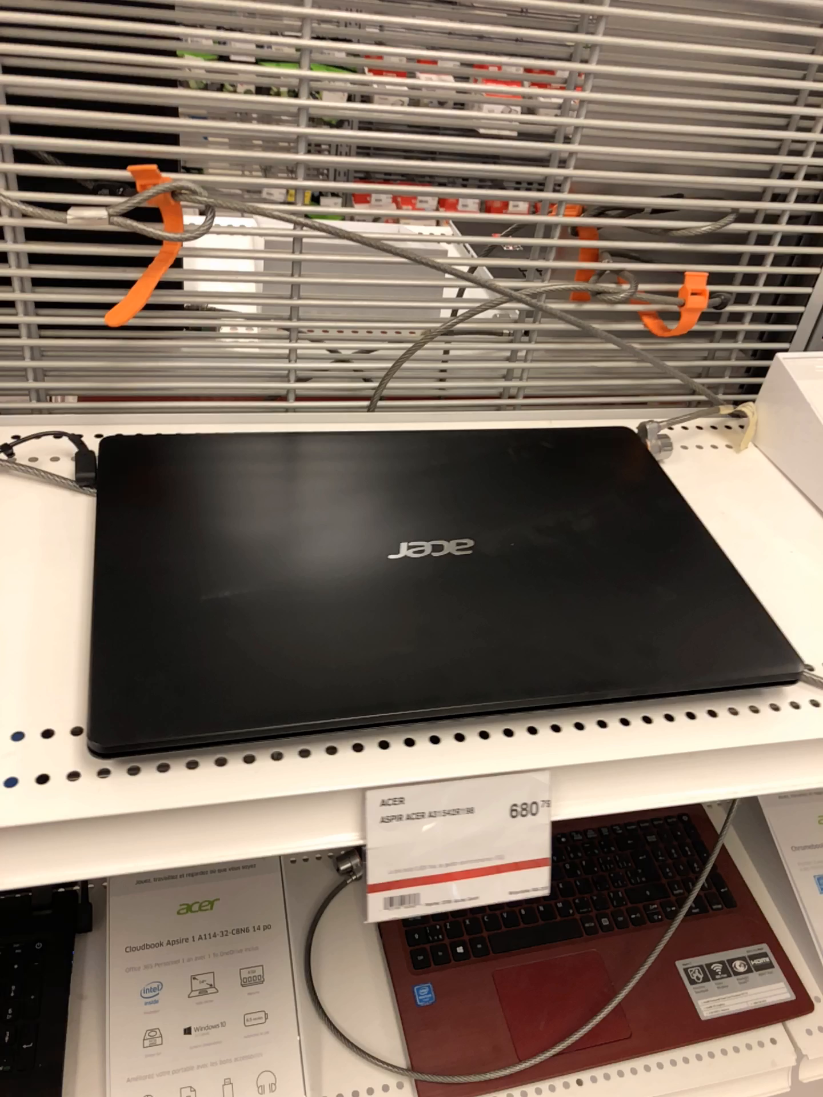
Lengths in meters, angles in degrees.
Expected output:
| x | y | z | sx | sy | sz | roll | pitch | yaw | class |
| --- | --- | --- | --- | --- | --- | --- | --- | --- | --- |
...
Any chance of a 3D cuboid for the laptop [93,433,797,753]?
| x | y | z | sx | sy | sz | roll | pitch | yaw | class |
| --- | --- | --- | --- | --- | --- | --- | --- | --- | --- |
| 0.009 | 0.002 | 0.522 | 0.355 | 0.006 | 0.232 | -3 | 41 | -16 | laptop |
